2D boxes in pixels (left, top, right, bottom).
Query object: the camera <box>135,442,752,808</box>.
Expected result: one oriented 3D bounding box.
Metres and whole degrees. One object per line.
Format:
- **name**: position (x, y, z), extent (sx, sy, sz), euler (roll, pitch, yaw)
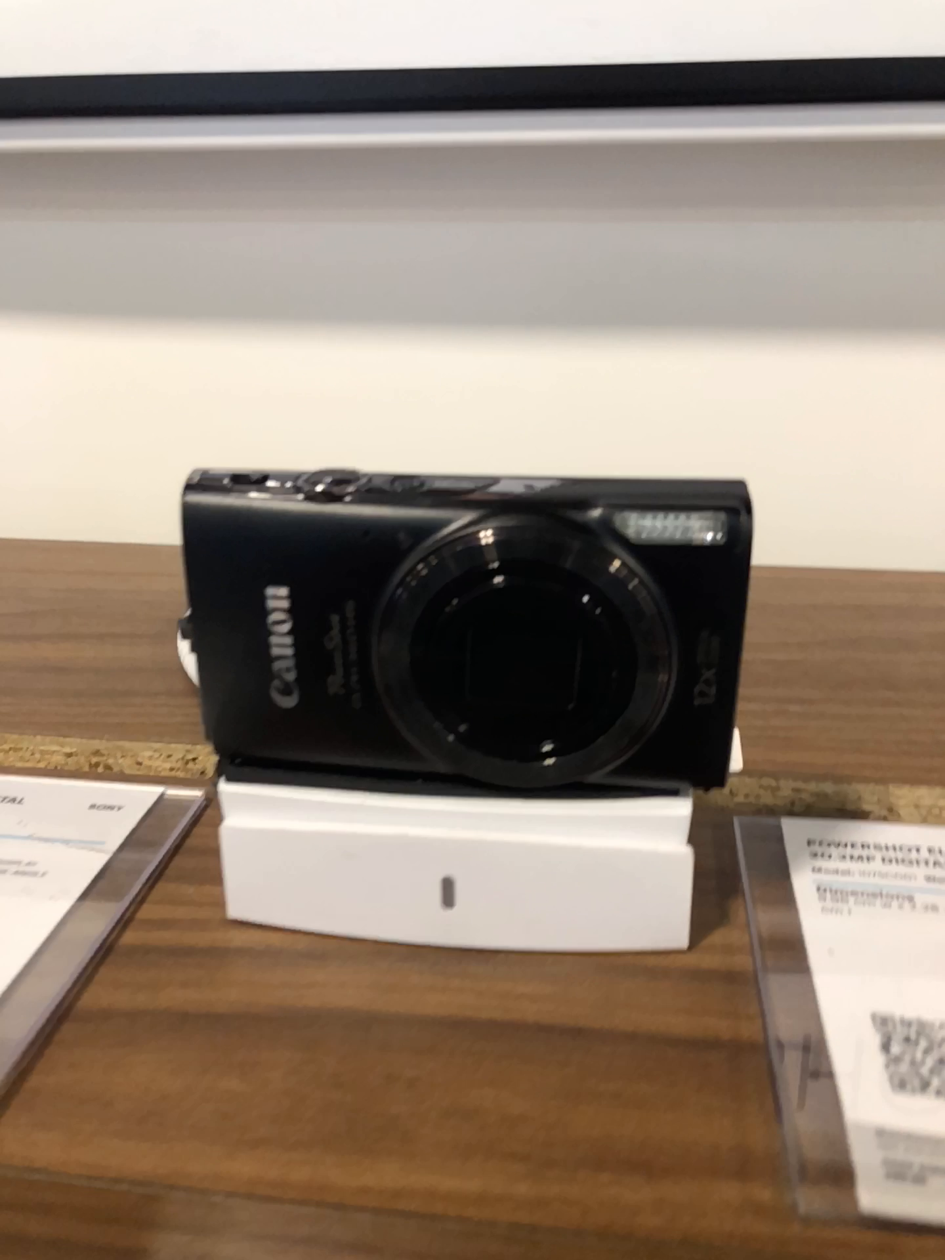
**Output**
- **camera**: position (-0.004, -0.003, 0.192), extent (0.100, 0.056, 0.030), euler (2, 20, 6)
